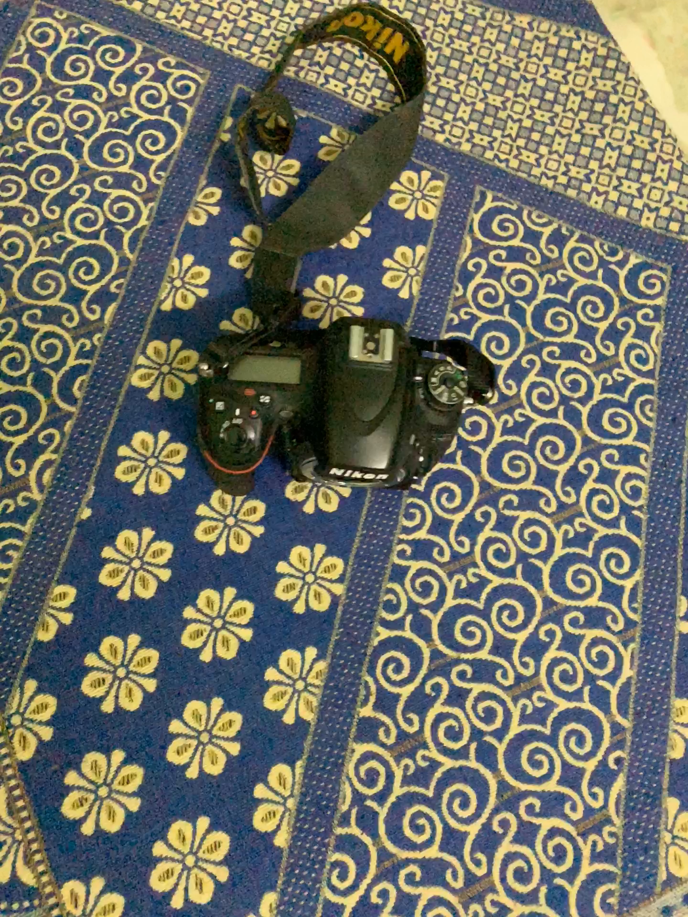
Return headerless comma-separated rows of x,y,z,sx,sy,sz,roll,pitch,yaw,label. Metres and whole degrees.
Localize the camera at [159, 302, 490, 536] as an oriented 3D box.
-0.009,-0.015,0.374,0.150,0.090,0.088,4,74,-3,camera
